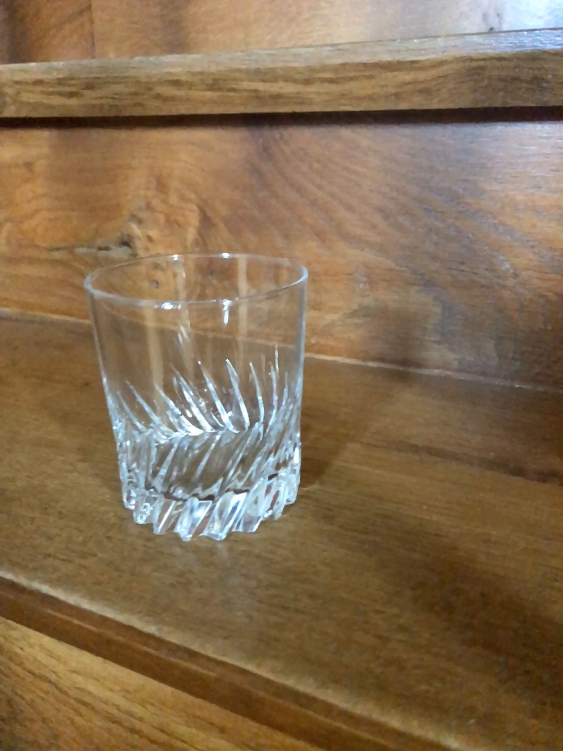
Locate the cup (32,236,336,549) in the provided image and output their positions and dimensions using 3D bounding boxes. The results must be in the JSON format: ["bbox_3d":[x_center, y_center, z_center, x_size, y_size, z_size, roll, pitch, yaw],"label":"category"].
[{"bbox_3d":[-0.032,-0.001,0.244,0.090,0.090,0.090,-1,21,0],"label":"cup"}]
